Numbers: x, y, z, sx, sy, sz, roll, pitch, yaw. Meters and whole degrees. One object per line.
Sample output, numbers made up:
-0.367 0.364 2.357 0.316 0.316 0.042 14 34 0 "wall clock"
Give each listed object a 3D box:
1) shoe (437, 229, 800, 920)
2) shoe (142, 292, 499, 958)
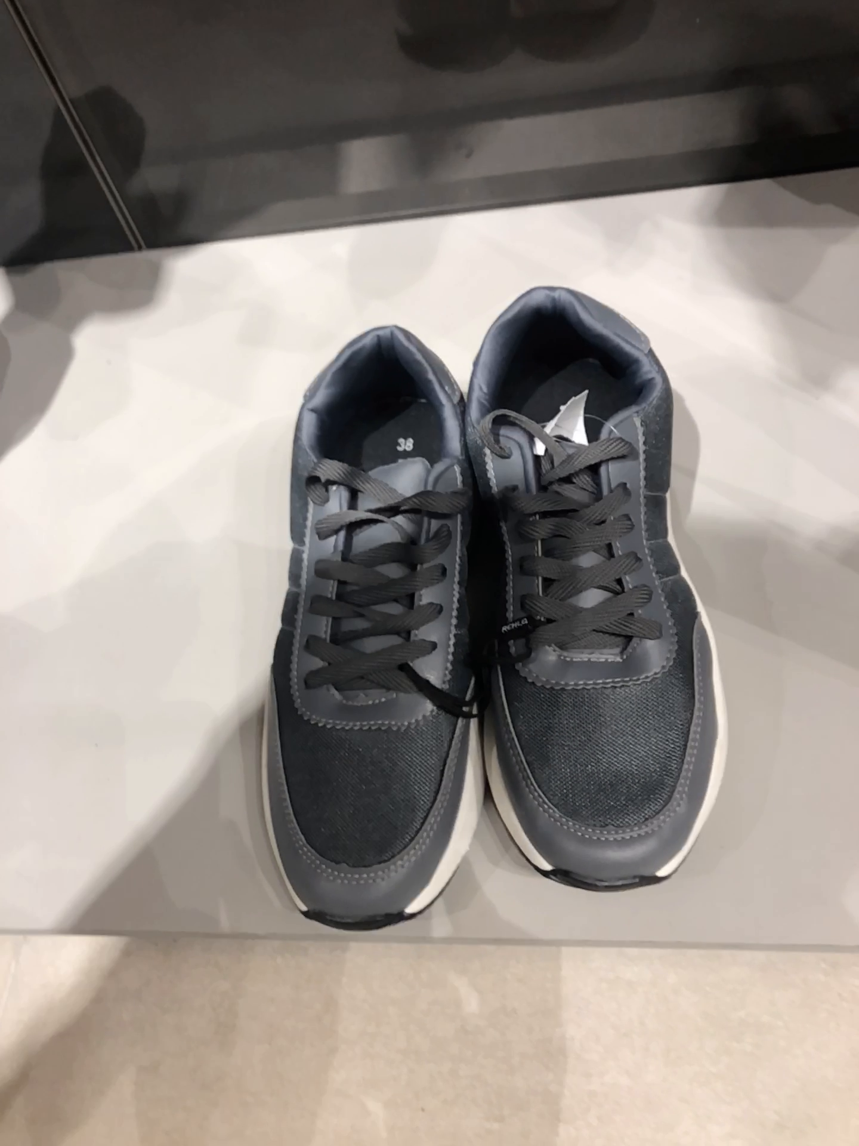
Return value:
0.067 -0.009 0.414 0.110 0.099 0.281 -6 57 9 "shoe"
-0.029 0.015 0.430 0.110 0.099 0.281 -4 57 10 "shoe"
